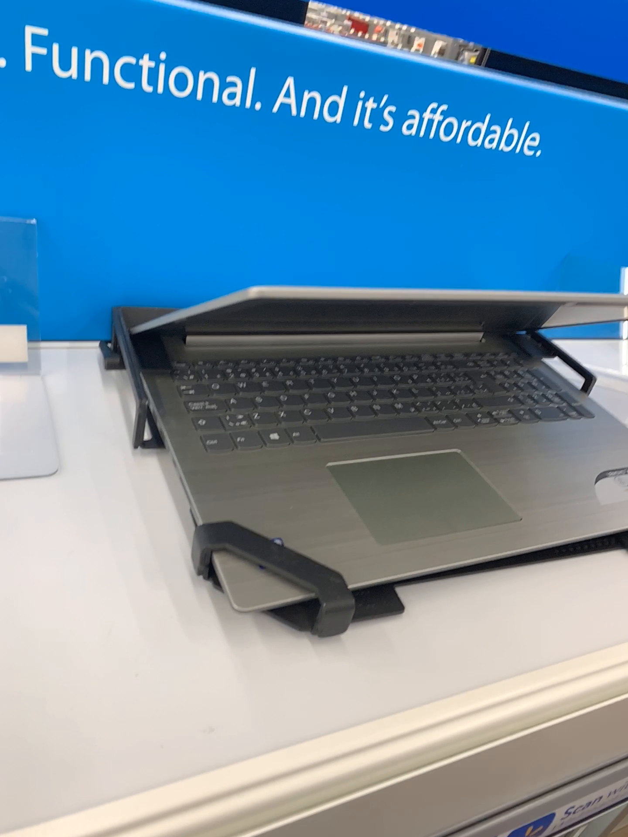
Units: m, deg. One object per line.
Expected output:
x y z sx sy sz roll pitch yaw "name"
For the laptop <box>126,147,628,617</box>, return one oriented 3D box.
0.080 -0.046 0.377 0.327 0.115 0.230 -4 36 -27 "laptop"
